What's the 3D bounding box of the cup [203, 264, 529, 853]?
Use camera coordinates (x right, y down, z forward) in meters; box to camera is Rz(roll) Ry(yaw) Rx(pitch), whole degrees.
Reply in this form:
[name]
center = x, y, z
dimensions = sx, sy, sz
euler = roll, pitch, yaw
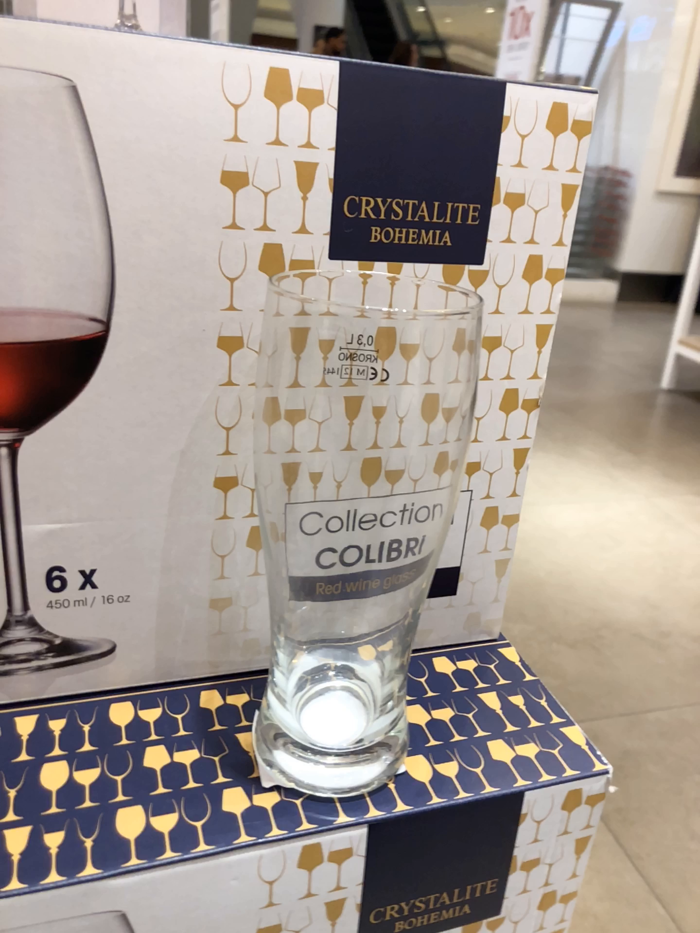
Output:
[cup]
center = -0.007, 0.029, 0.271
dimensions = 0.080, 0.179, 0.080
euler = 5, 22, -2
